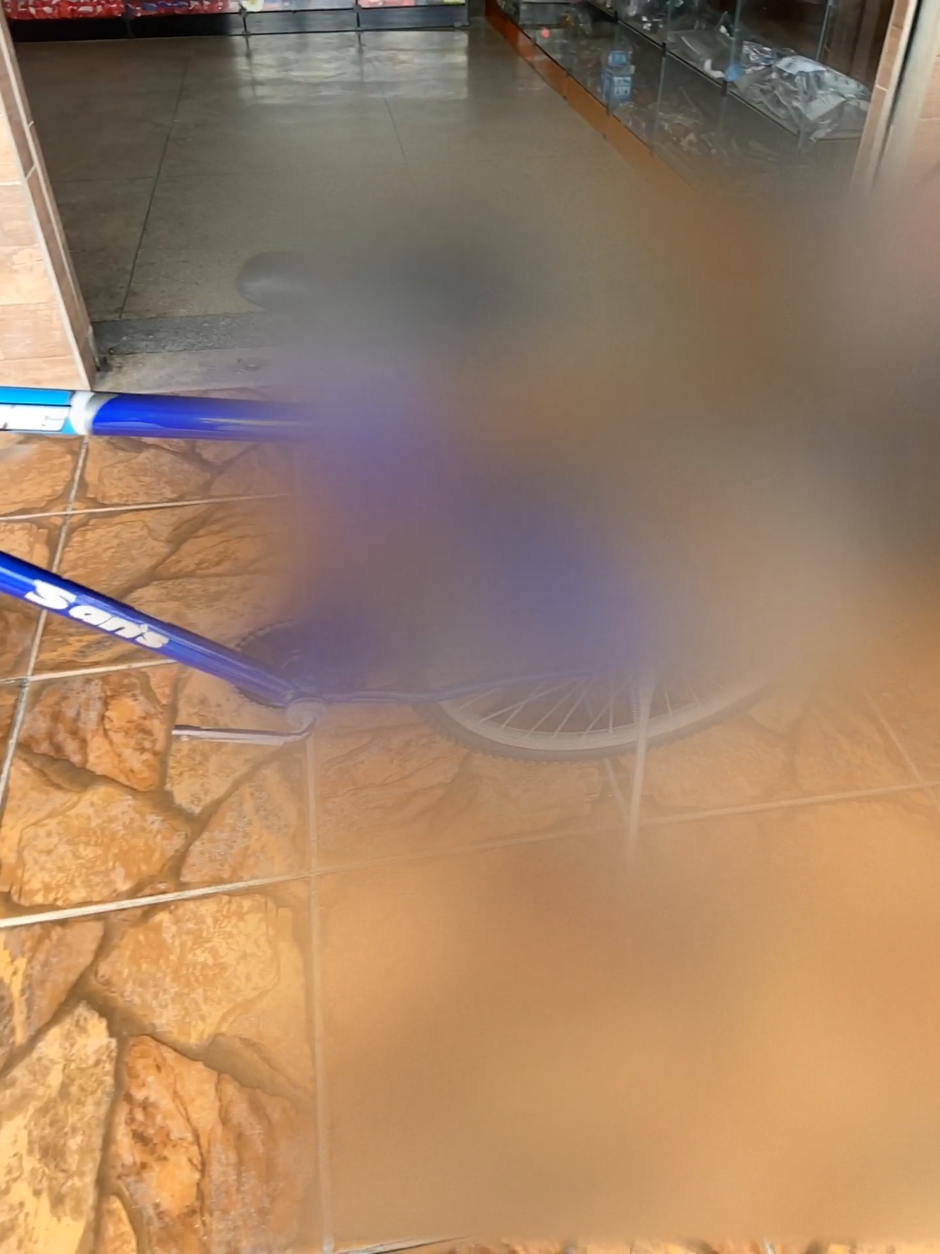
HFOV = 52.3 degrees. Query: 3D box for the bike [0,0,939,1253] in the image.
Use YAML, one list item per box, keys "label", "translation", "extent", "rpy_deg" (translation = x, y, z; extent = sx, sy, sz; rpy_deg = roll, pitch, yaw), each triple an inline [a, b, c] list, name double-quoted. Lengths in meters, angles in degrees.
- label: "bike"
  translation: [-0.169, 0.088, 0.911]
  extent: [1.526, 1.013, 0.574]
  rpy_deg: [-17, 44, -13]
